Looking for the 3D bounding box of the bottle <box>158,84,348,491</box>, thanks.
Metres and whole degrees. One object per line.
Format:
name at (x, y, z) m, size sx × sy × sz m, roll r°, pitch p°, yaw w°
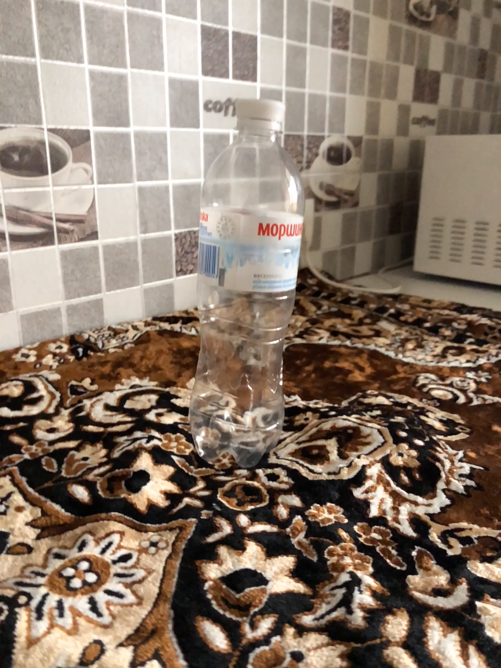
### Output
bottle at (-0.003, -0.033, 0.389) m, size 0.080 × 0.249 × 0.090 m, roll 17°, pitch 21°, yaw 39°
